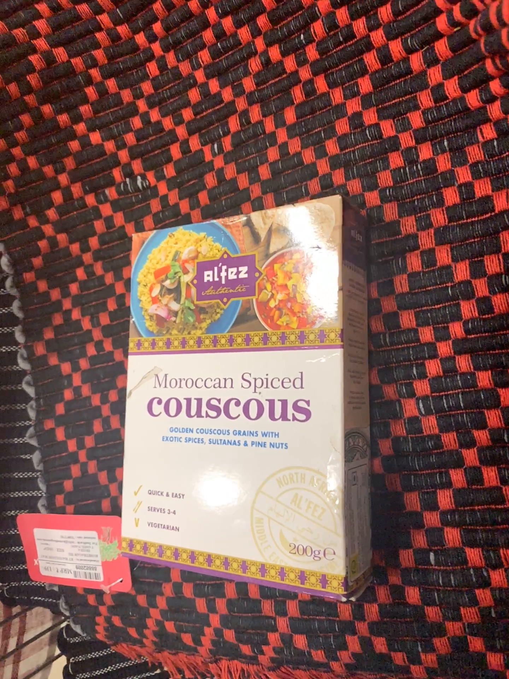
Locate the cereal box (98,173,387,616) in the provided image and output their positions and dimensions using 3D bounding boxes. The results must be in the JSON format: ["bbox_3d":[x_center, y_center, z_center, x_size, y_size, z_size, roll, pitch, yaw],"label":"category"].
[{"bbox_3d":[-0.006,0.021,0.243,0.121,0.050,0.160,-3,83,30],"label":"cereal box"}]
